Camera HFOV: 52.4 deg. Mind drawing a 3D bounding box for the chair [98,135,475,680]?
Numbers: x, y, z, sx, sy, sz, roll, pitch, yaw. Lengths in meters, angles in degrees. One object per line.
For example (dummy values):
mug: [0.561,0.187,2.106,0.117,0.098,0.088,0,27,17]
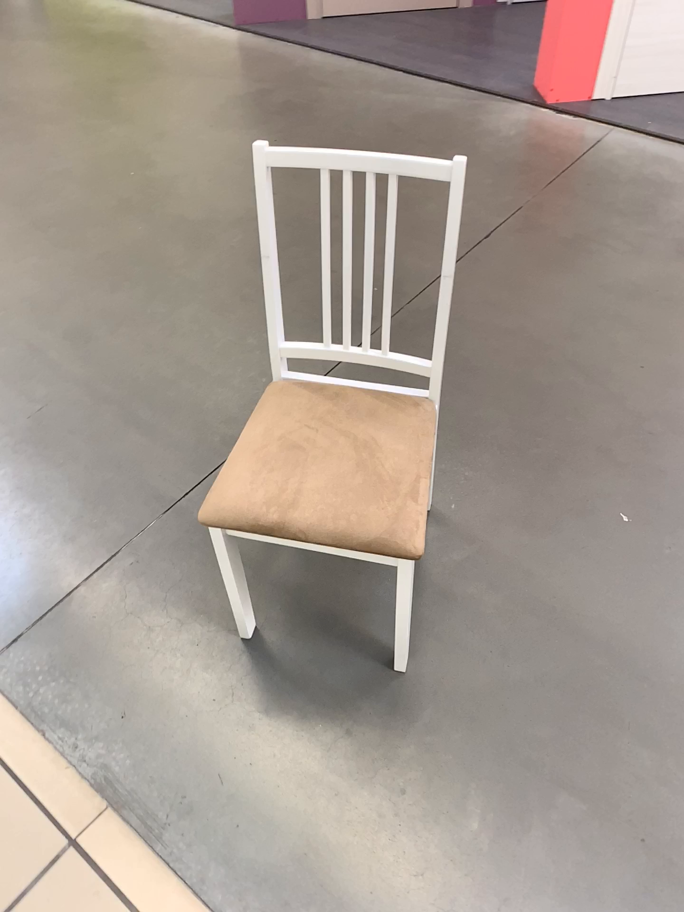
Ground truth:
chair: [-0.024,-0.046,1.249,0.400,0.817,0.502,7,49,9]
